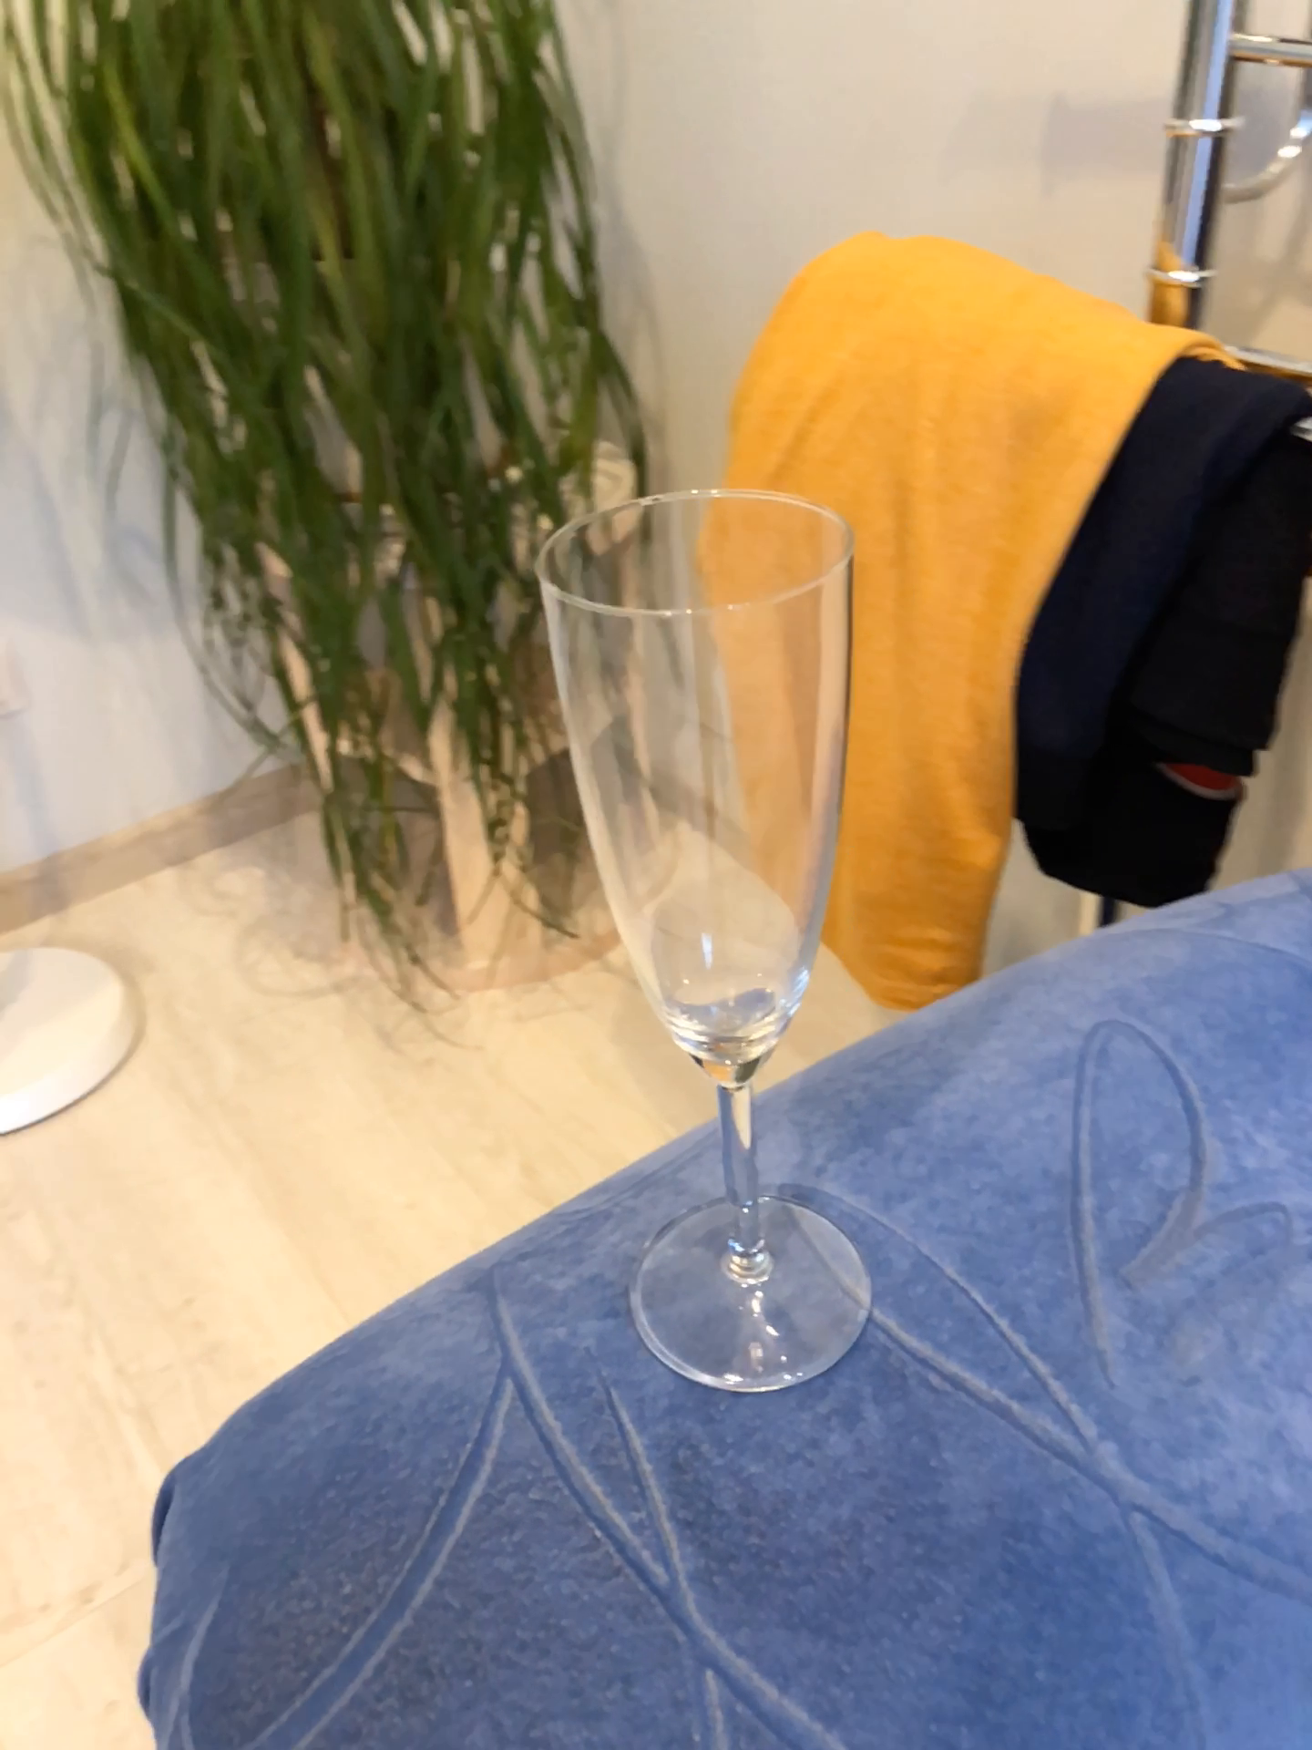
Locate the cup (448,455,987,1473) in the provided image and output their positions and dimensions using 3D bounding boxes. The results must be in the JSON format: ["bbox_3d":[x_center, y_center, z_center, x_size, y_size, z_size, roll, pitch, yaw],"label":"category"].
[{"bbox_3d":[0.016,0.026,0.333,0.076,0.214,0.072,-3,32,2],"label":"cup"}]
